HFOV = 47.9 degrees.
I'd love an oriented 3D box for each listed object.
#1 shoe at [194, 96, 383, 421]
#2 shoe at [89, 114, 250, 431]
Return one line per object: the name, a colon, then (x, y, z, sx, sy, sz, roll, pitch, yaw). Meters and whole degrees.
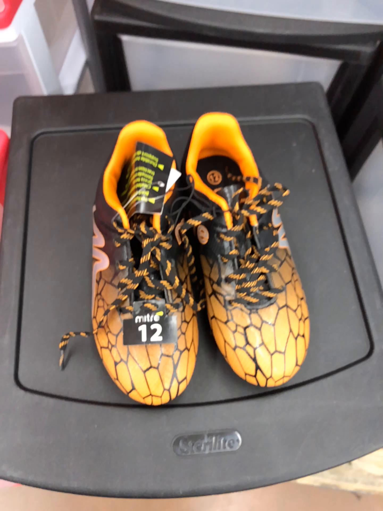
shoe: (0.056, -0.001, 0.292, 0.080, 0.070, 0.200, -7, 68, -4)
shoe: (-0.021, 0.010, 0.304, 0.080, 0.080, 0.200, -6, 67, -4)
